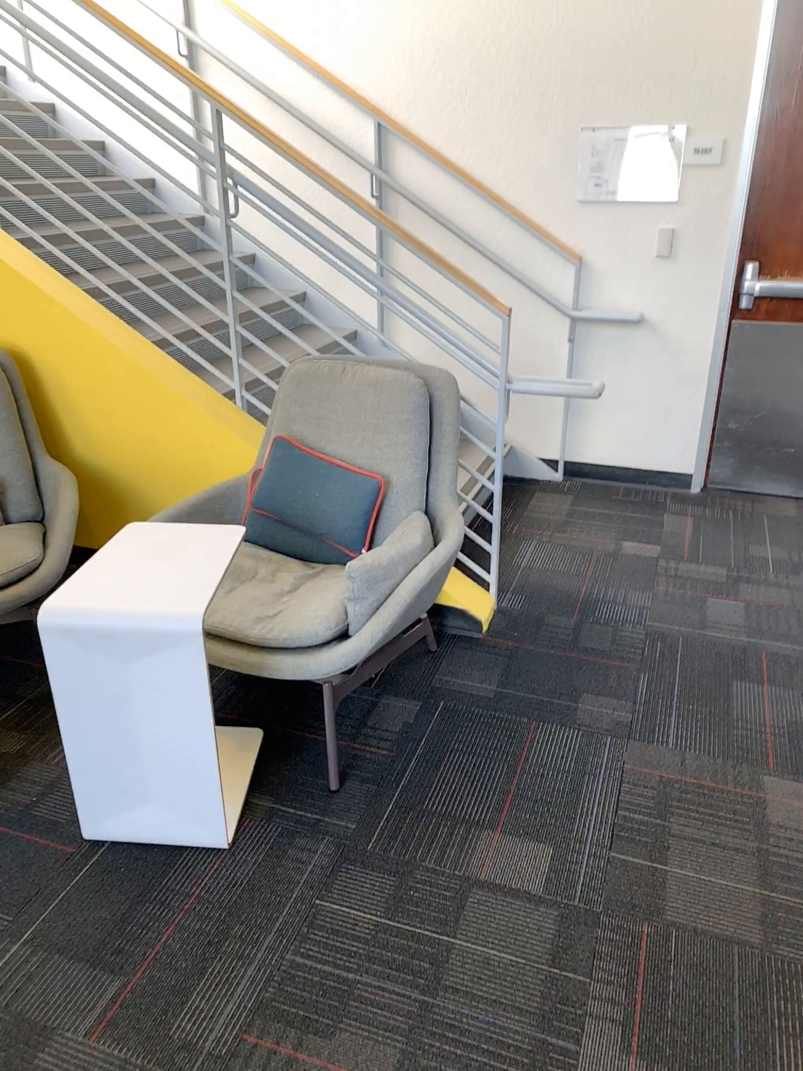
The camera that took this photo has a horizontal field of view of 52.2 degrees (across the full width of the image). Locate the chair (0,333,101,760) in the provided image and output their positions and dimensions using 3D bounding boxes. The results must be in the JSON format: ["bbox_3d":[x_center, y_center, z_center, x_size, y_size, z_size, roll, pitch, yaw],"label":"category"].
[{"bbox_3d":[-1.559,-0.049,2.679,0.890,1.015,0.844,-10,23,-20],"label":"chair"}]

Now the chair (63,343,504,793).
[{"bbox_3d":[-0.298,-0.011,2.478,0.872,0.945,0.883,13,24,28],"label":"chair"}]
